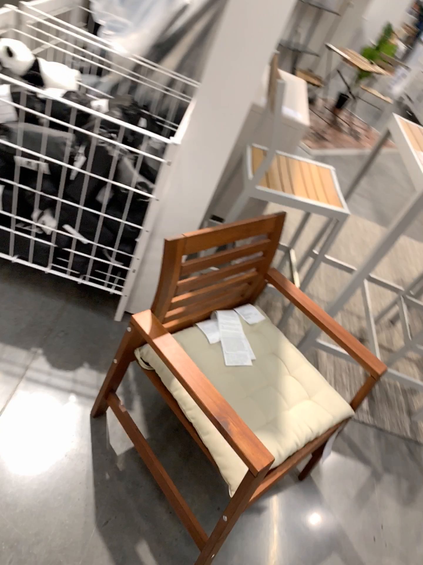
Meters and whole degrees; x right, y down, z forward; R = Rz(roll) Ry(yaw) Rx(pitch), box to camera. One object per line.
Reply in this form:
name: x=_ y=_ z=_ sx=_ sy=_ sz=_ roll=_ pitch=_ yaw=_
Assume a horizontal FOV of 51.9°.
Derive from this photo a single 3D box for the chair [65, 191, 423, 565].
chair: x=0.095 y=0.273 z=1.283 sx=0.653 sy=0.706 sz=0.721 roll=-20 pitch=58 yaw=-42
